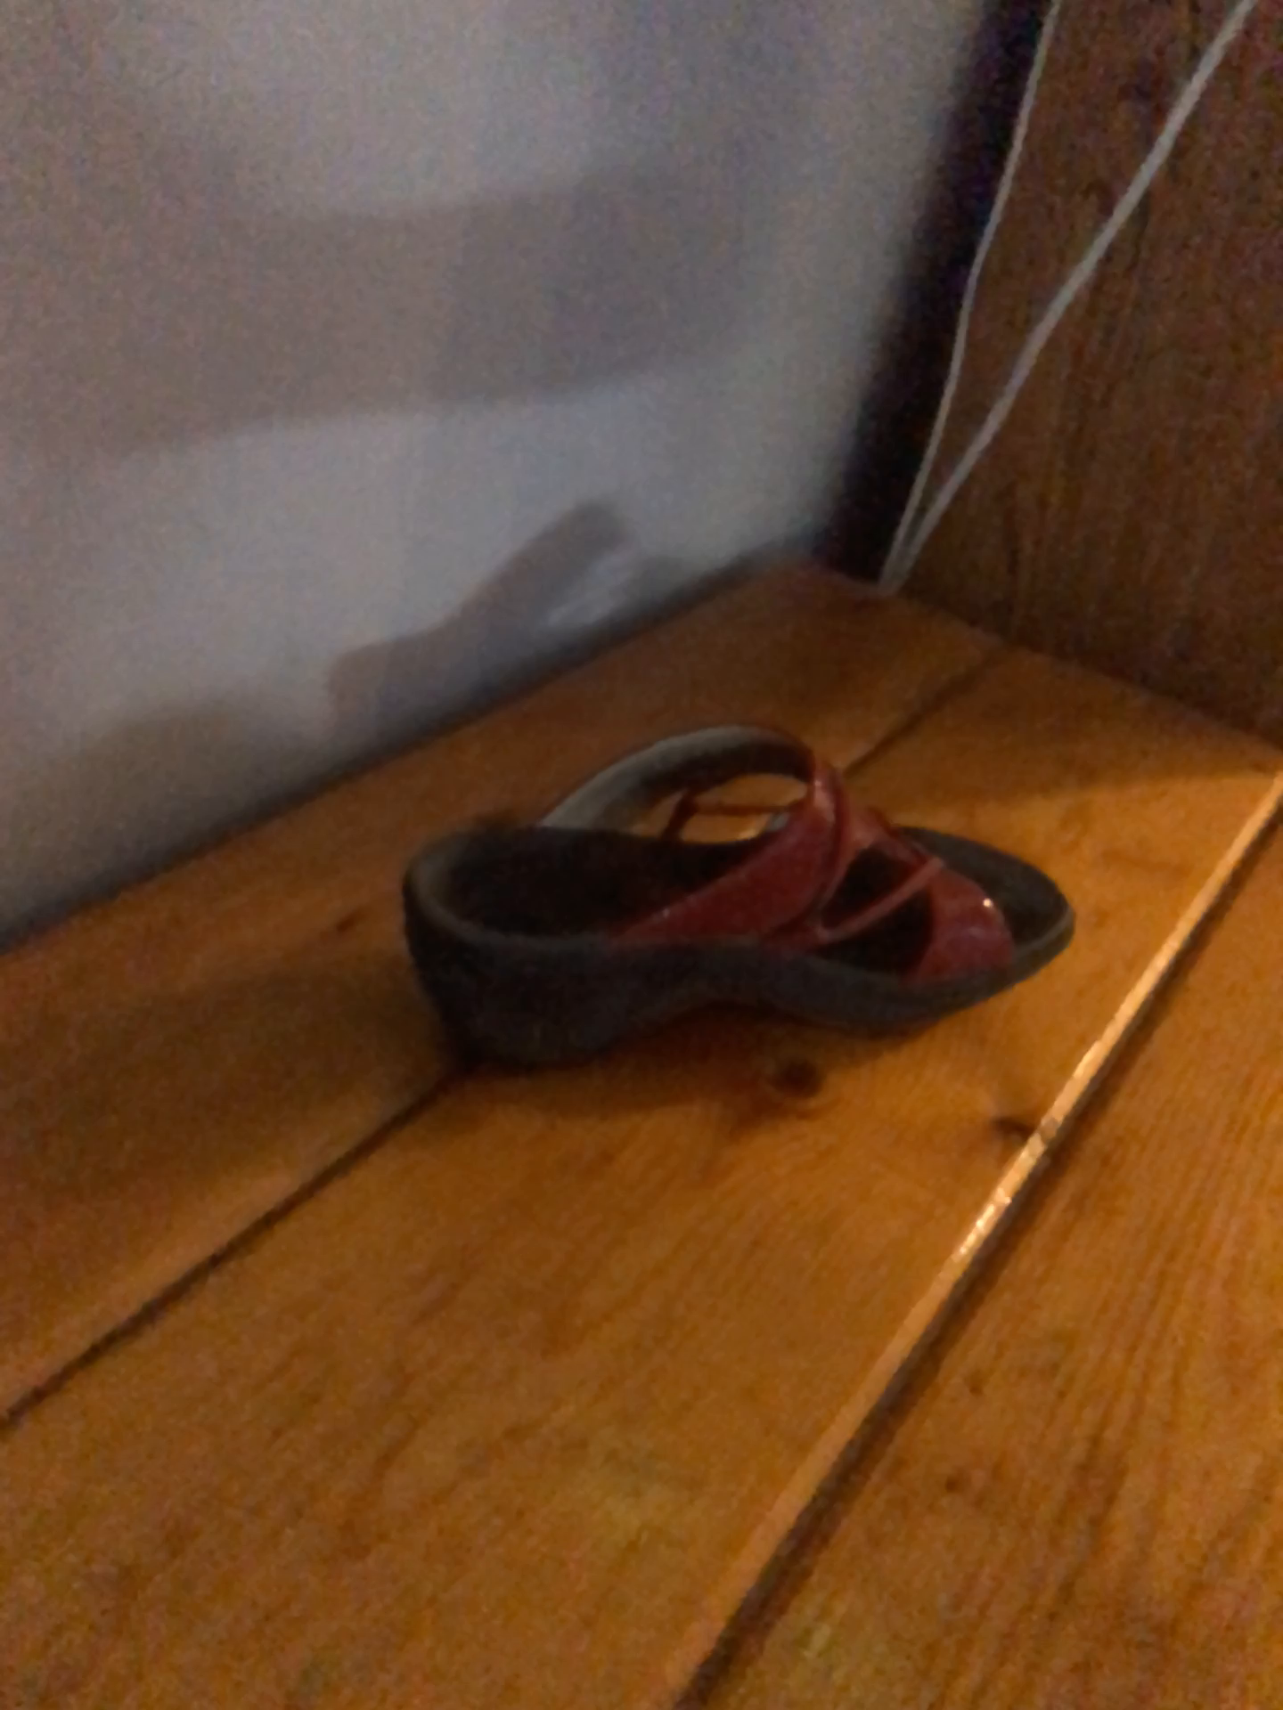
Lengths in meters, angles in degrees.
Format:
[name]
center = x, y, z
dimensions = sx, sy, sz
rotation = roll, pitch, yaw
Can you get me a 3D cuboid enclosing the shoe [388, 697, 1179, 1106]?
[shoe]
center = 0.049, 0.007, 0.504
dimensions = 0.250, 0.070, 0.100
rotation = -6, 38, -24
